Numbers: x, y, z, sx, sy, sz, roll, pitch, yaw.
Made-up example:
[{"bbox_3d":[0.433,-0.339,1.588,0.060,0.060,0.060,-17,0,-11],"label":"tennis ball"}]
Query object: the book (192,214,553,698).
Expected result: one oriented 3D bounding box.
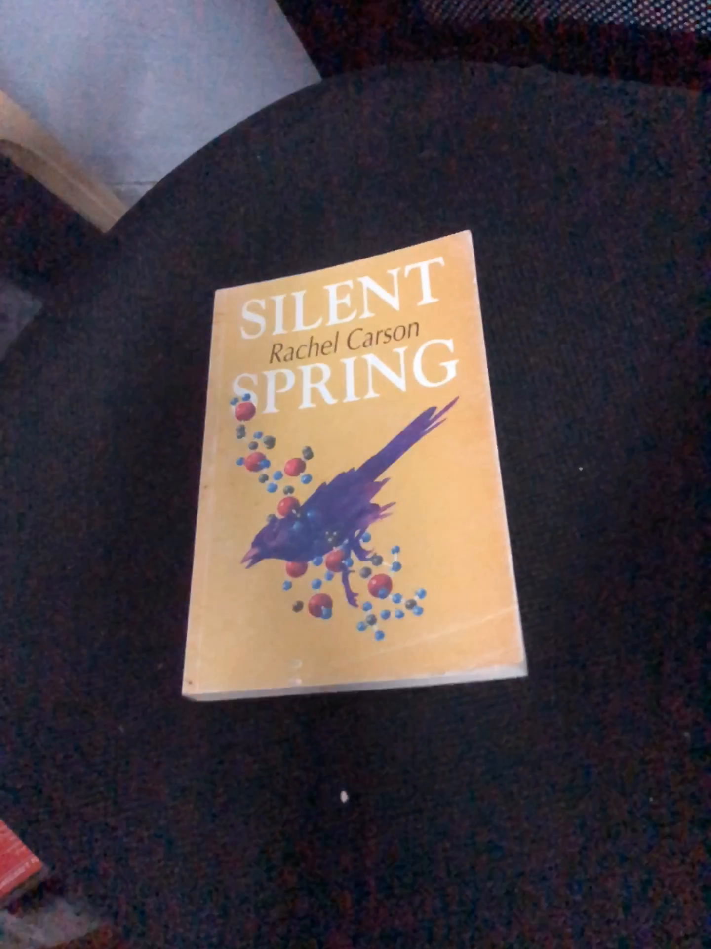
[{"bbox_3d":[0.003,-0.013,0.378,0.150,0.030,0.220,-9,63,15],"label":"book"}]
